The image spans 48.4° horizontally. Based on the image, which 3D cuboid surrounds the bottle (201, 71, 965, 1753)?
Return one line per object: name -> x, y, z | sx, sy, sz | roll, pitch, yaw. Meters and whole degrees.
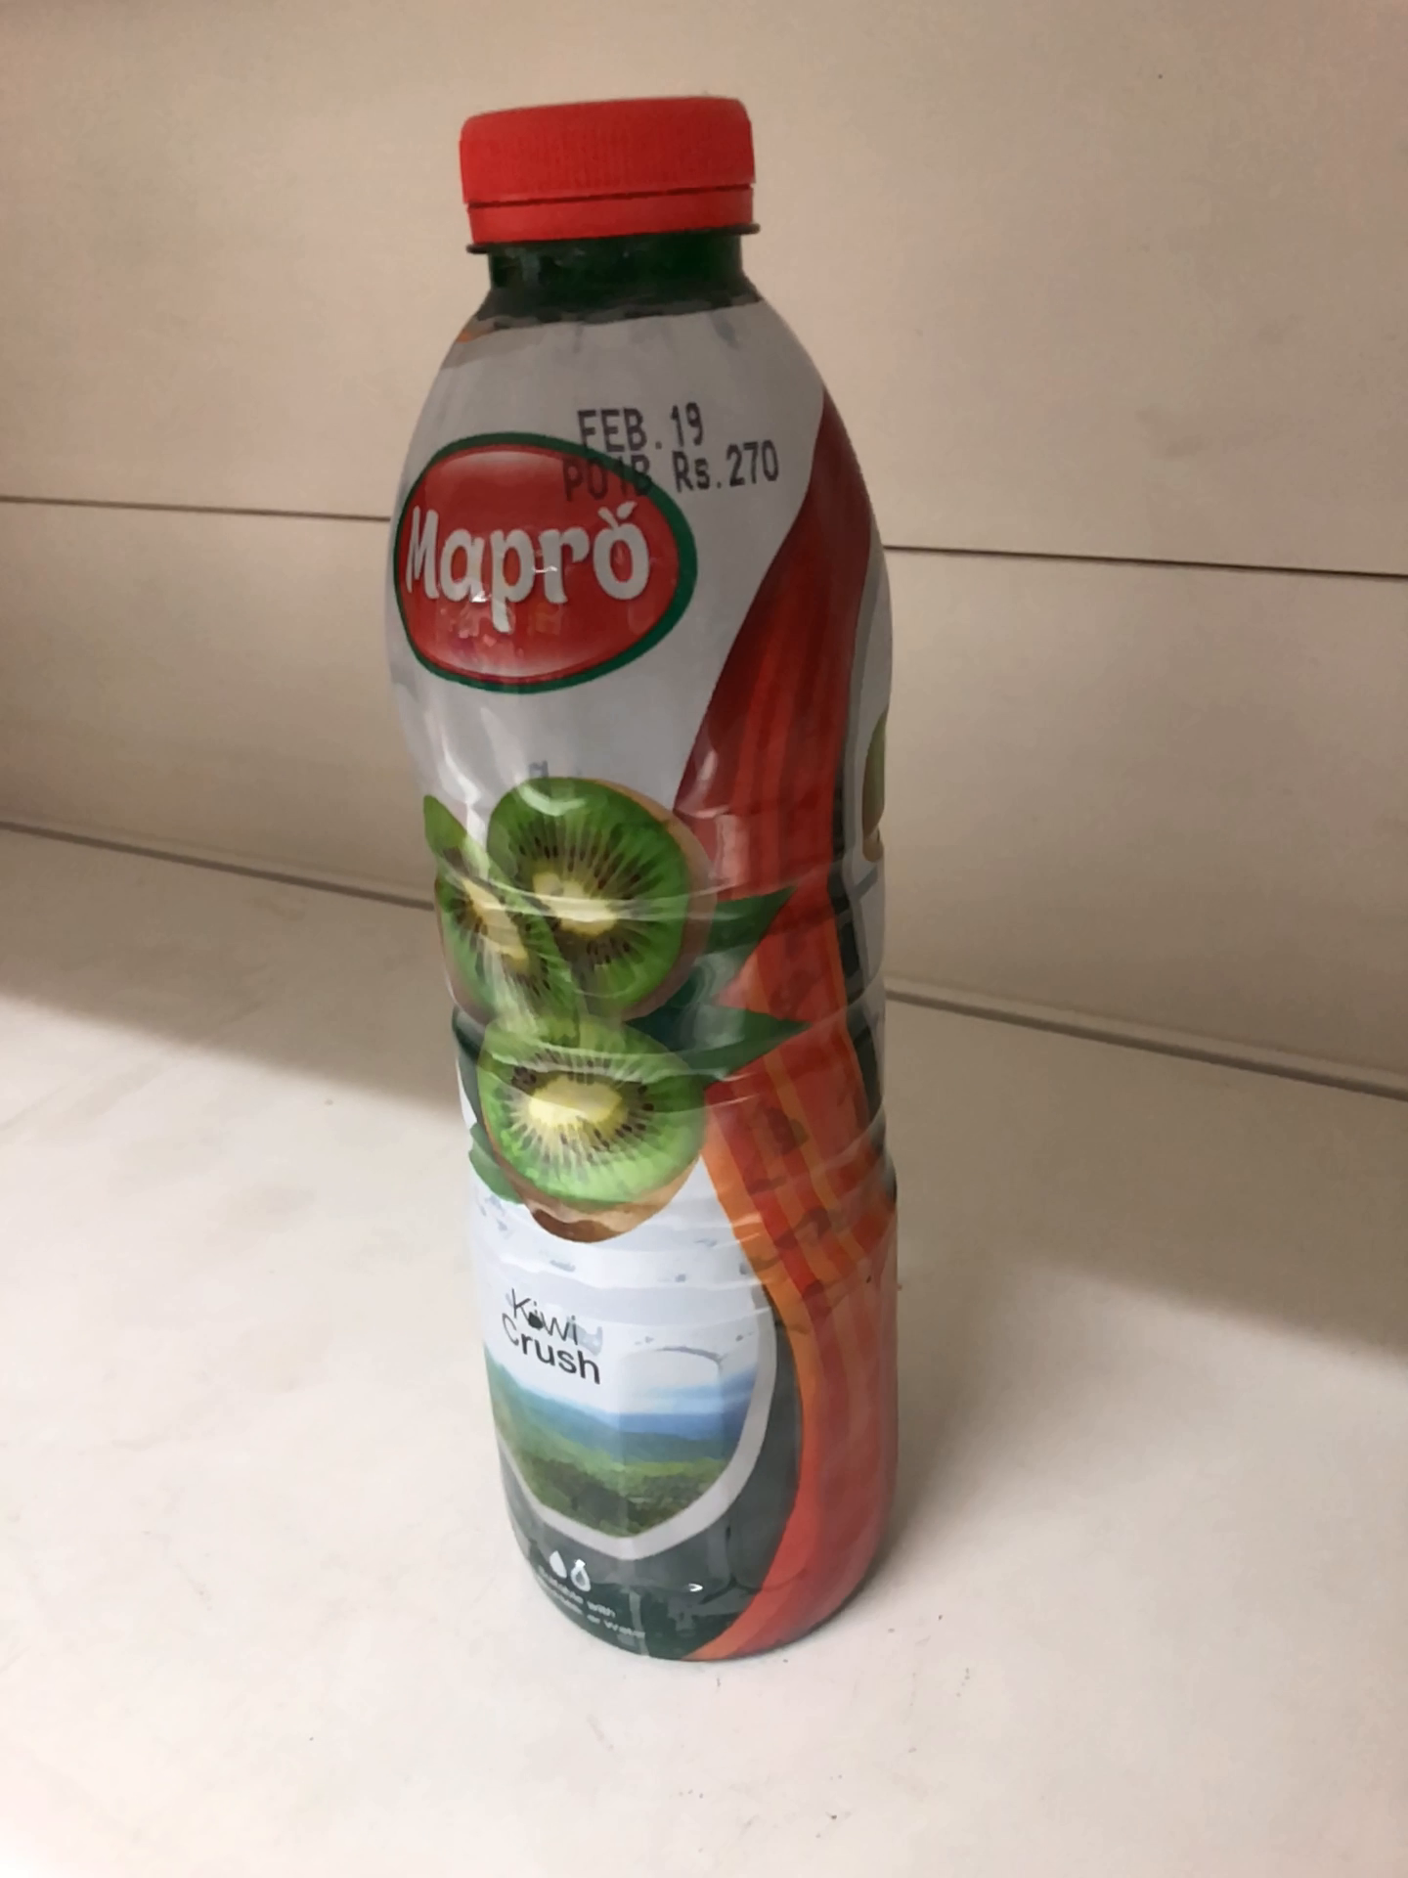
bottle -> -0.008, 0.004, 0.268 | 0.080, 0.259, 0.070 | 10, 27, 26
